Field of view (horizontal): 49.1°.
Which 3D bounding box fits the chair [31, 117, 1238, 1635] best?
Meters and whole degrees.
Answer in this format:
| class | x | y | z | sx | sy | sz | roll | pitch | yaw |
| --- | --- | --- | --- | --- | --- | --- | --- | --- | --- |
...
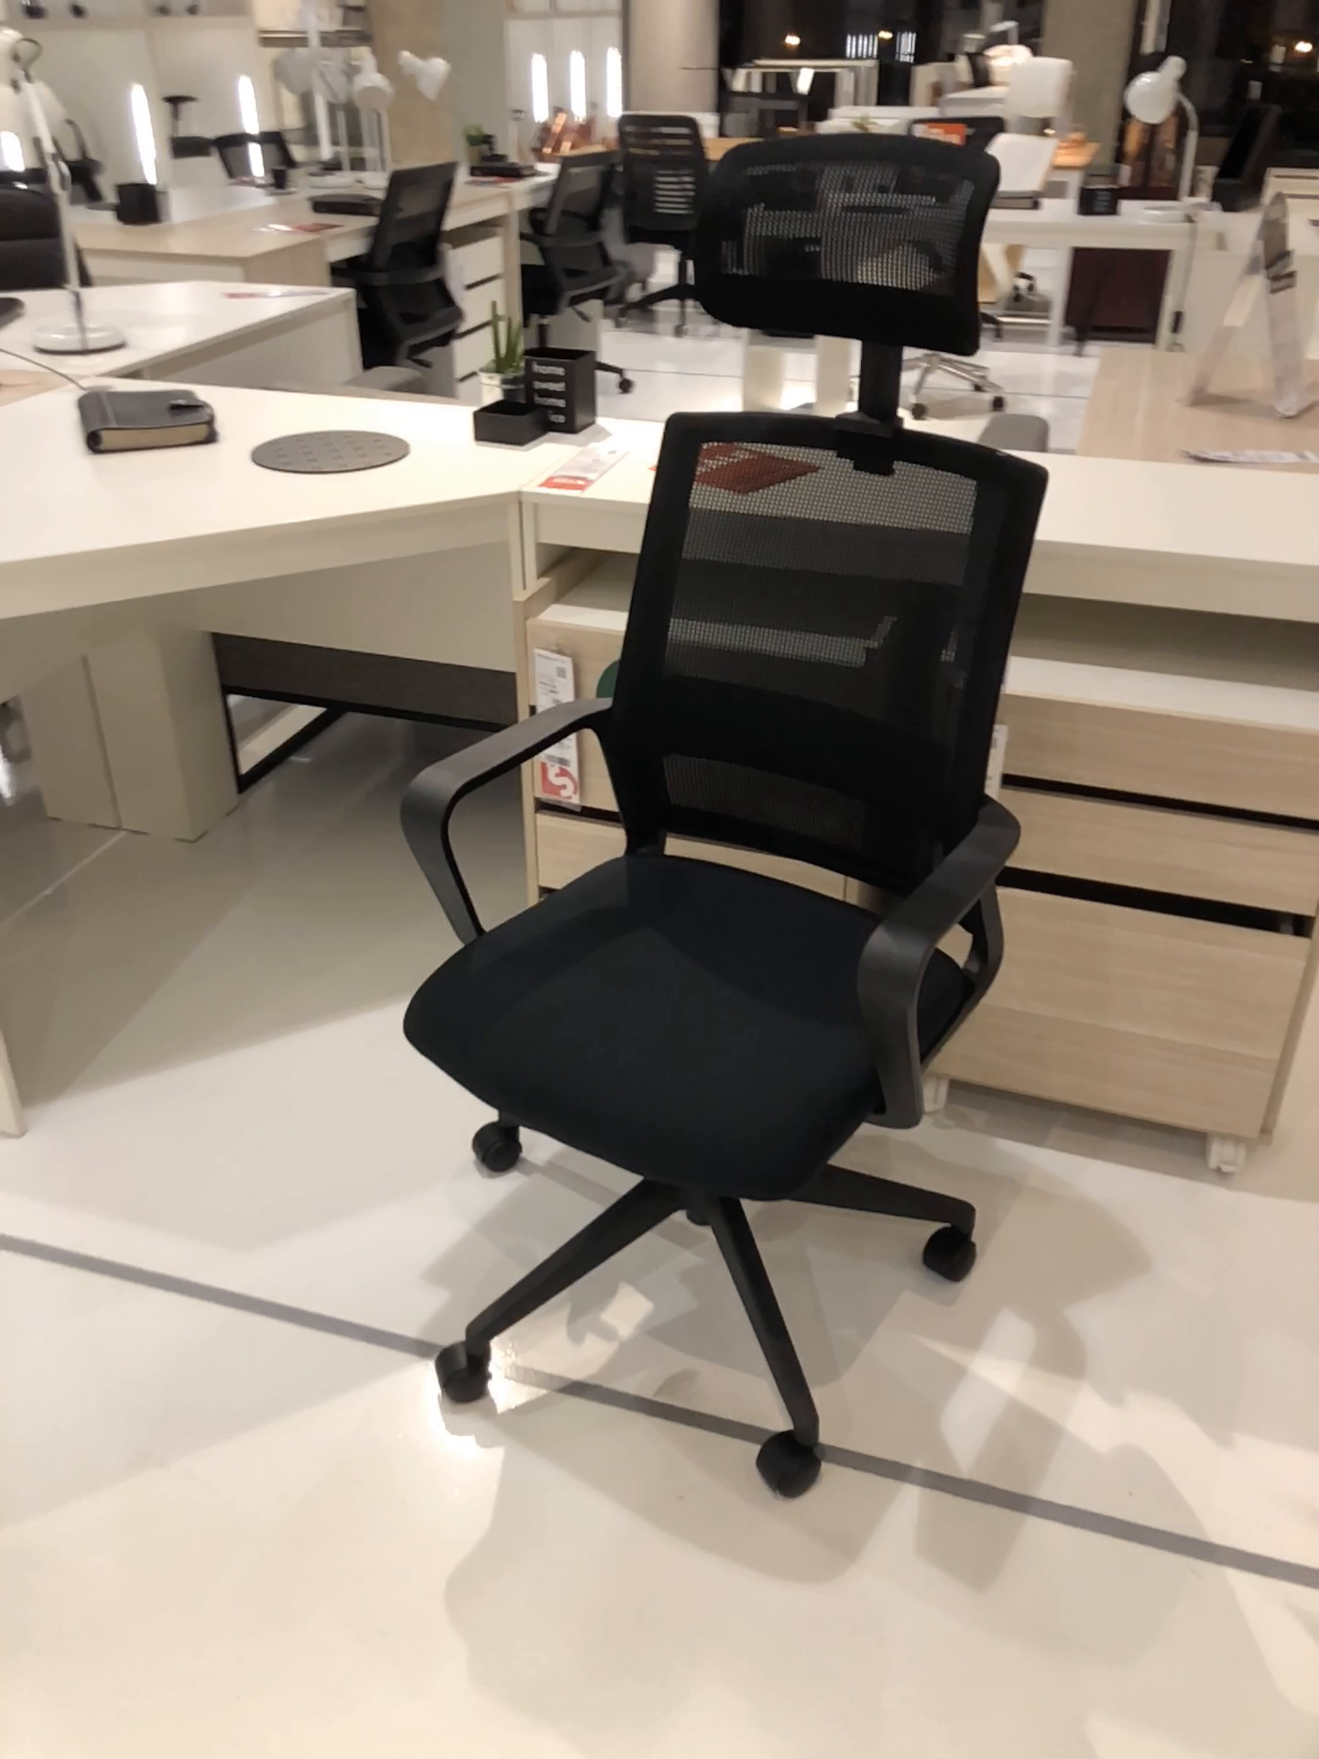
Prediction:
| class | x | y | z | sx | sy | sz | roll | pitch | yaw |
| --- | --- | --- | --- | --- | --- | --- | --- | --- | --- |
| chair | 0.024 | -0.062 | 1.371 | 0.661 | 1.131 | 0.664 | 17 | 34 | 27 |
